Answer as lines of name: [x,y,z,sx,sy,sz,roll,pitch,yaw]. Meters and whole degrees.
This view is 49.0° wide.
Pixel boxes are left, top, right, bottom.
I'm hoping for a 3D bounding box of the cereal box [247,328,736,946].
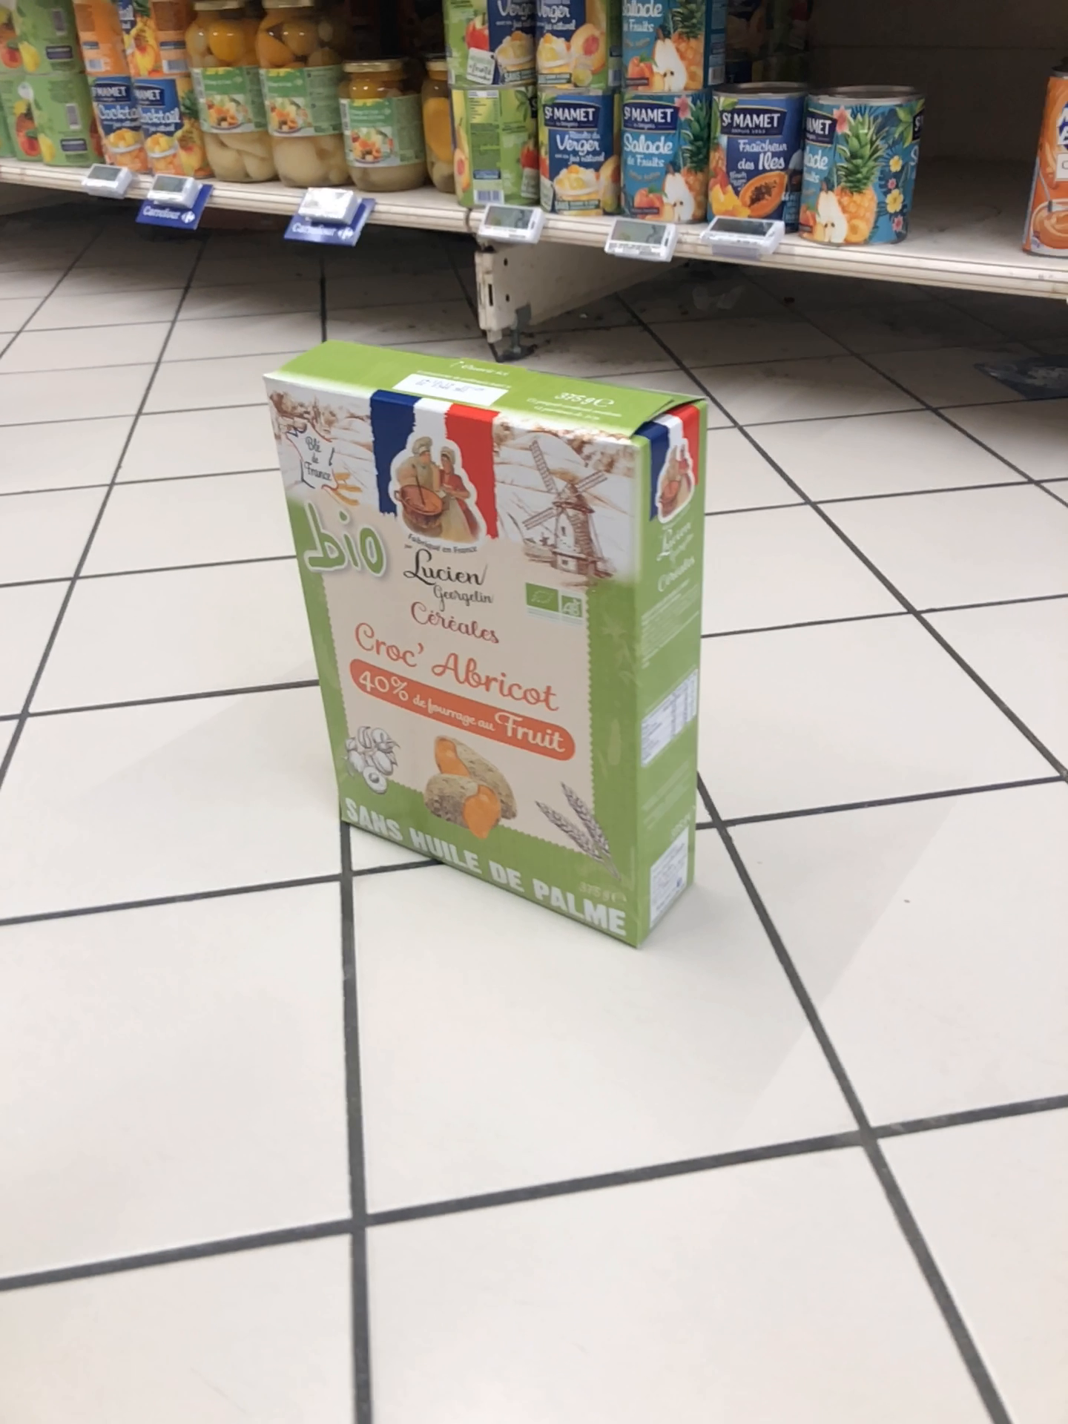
cereal box: [-0.019,-0.038,0.548,0.200,0.239,0.070,18,37,29]
